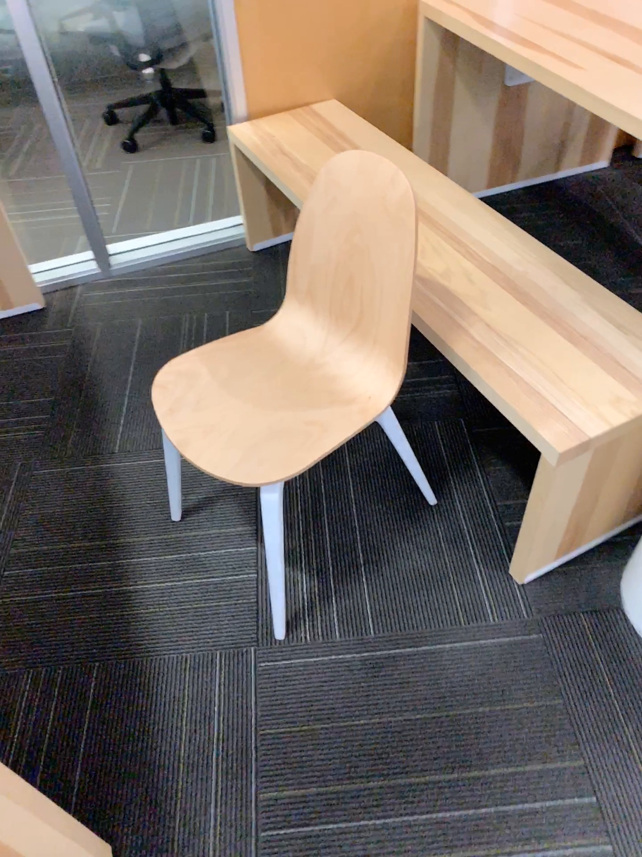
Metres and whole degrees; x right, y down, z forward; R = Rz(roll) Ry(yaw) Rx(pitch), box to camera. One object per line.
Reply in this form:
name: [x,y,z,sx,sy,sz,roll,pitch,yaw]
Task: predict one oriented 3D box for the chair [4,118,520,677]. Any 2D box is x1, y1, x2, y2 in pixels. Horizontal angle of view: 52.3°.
chair: [-0.067,-0.066,1.327,0.651,0.766,0.522,-37,54,-27]
